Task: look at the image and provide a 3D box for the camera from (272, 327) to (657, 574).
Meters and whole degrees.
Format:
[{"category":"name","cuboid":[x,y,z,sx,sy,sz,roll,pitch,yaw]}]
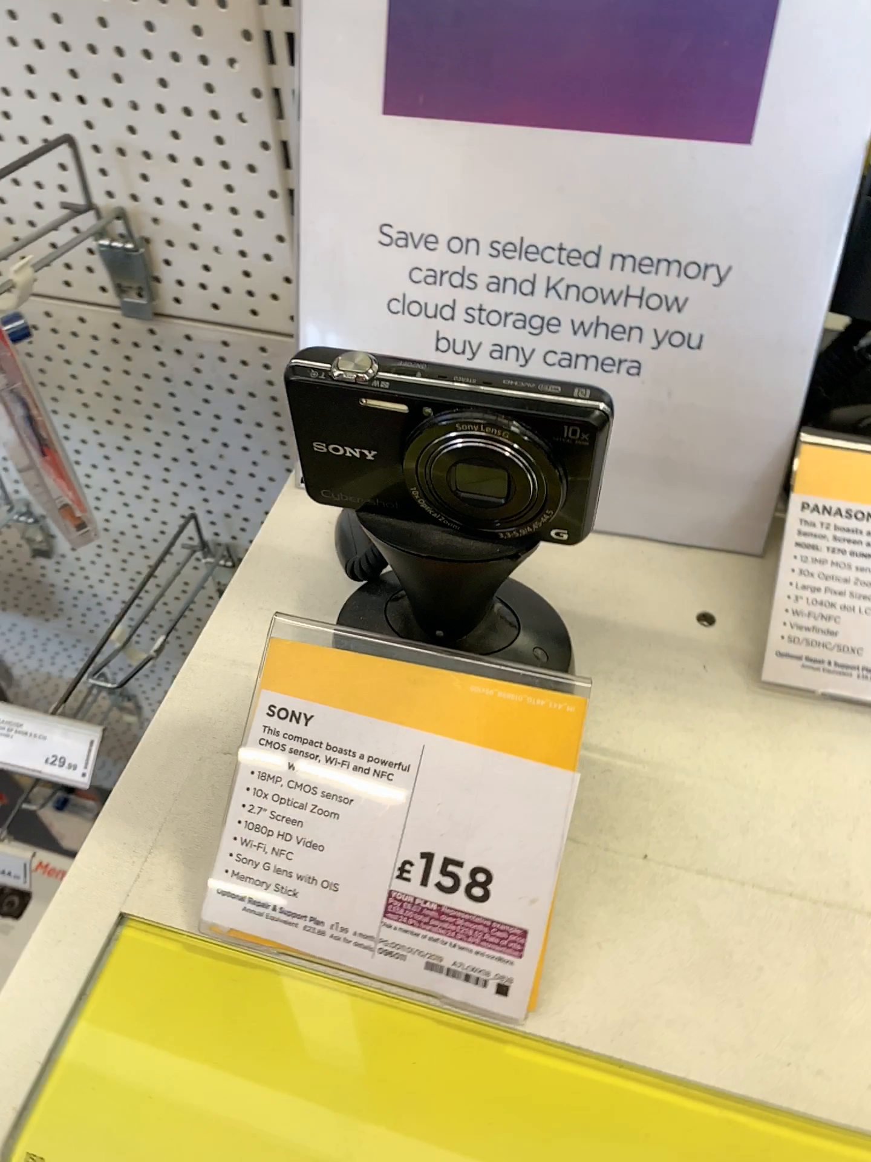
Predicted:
[{"category":"camera","cuboid":[0.008,-0.038,0.263,0.100,0.050,0.030,10,51,10]}]
